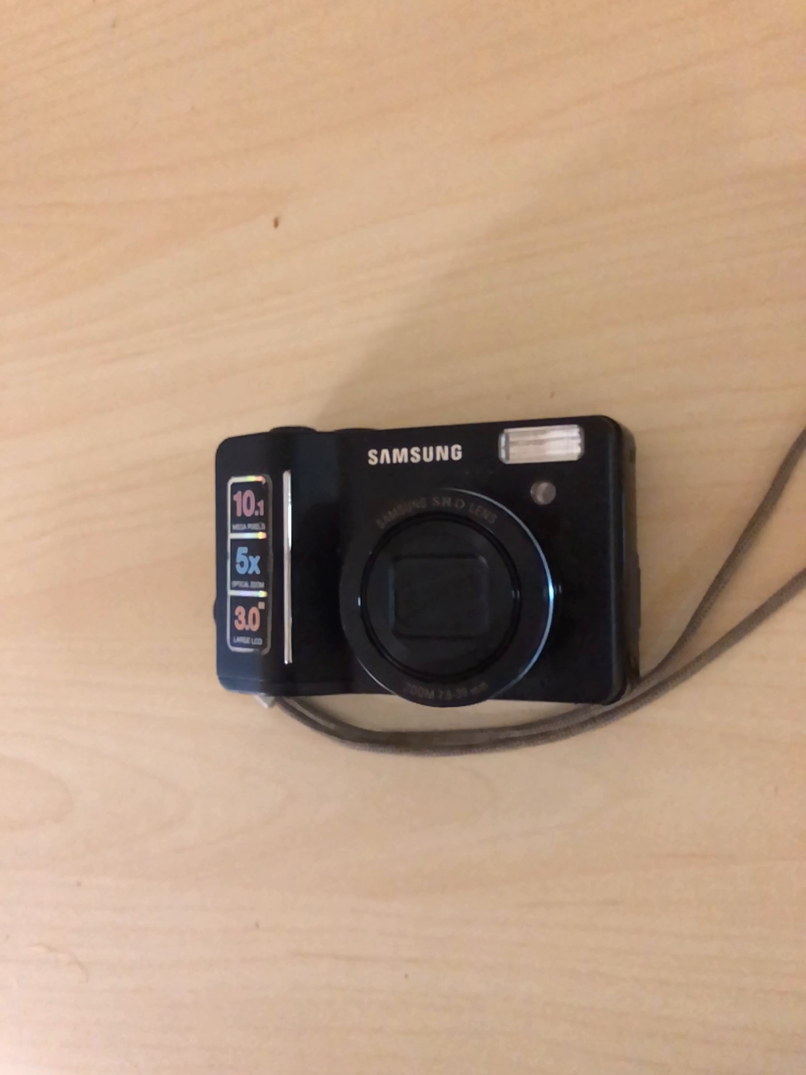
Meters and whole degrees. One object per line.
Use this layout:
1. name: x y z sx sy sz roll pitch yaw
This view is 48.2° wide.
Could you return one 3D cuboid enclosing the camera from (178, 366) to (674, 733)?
1. camera: 0.003 0.003 0.207 0.110 0.030 0.070 -1 88 23
